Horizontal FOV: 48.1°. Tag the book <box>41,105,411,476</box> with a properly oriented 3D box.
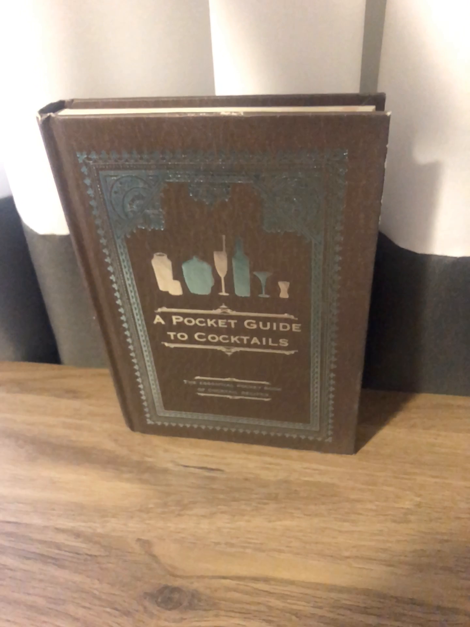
[{"bbox_3d":[0.001,0.004,0.260,0.136,0.199,0.022,3,39,10],"label":"book"}]
